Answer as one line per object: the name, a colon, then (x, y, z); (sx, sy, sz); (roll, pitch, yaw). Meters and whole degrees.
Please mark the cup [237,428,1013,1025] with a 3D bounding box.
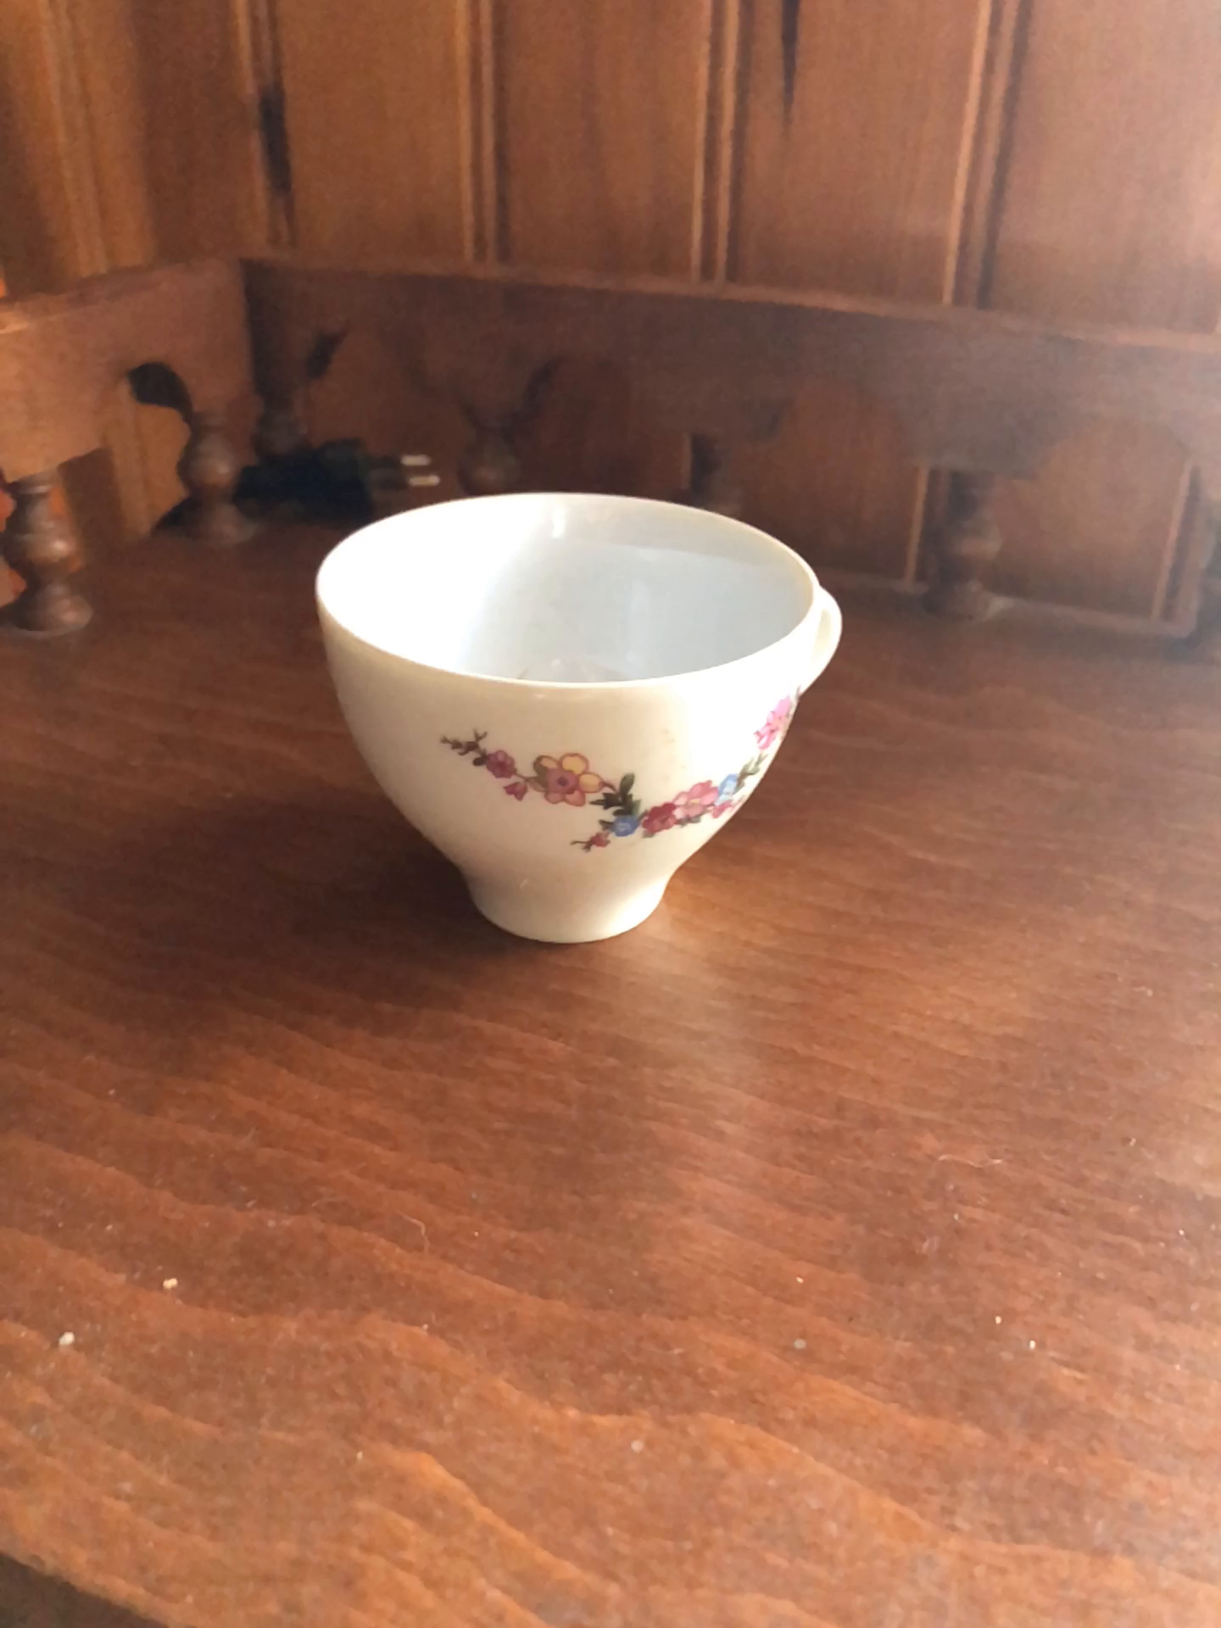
cup: (0.000, -0.023, 0.222); (0.090, 0.050, 0.080); (-17, 35, -28)
